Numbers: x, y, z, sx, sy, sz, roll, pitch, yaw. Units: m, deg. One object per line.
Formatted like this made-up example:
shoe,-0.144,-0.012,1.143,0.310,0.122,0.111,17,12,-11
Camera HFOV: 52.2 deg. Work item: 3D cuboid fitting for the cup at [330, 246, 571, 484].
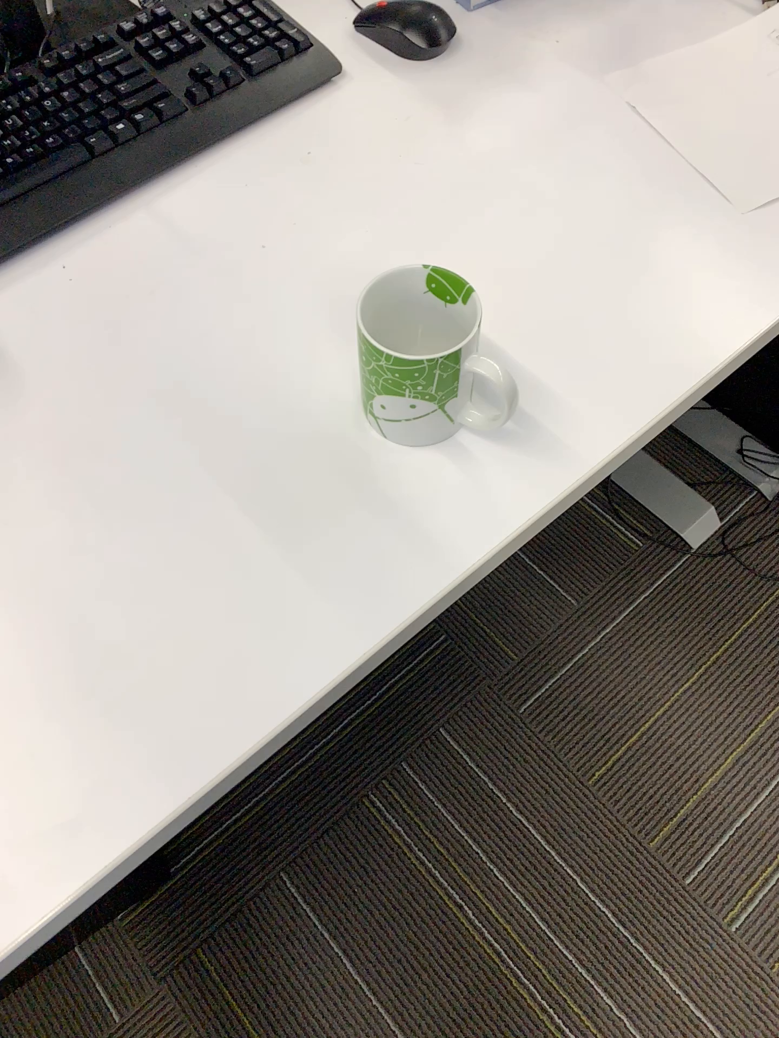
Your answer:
cup,0.039,-0.101,0.520,0.120,0.080,0.090,23,63,14
